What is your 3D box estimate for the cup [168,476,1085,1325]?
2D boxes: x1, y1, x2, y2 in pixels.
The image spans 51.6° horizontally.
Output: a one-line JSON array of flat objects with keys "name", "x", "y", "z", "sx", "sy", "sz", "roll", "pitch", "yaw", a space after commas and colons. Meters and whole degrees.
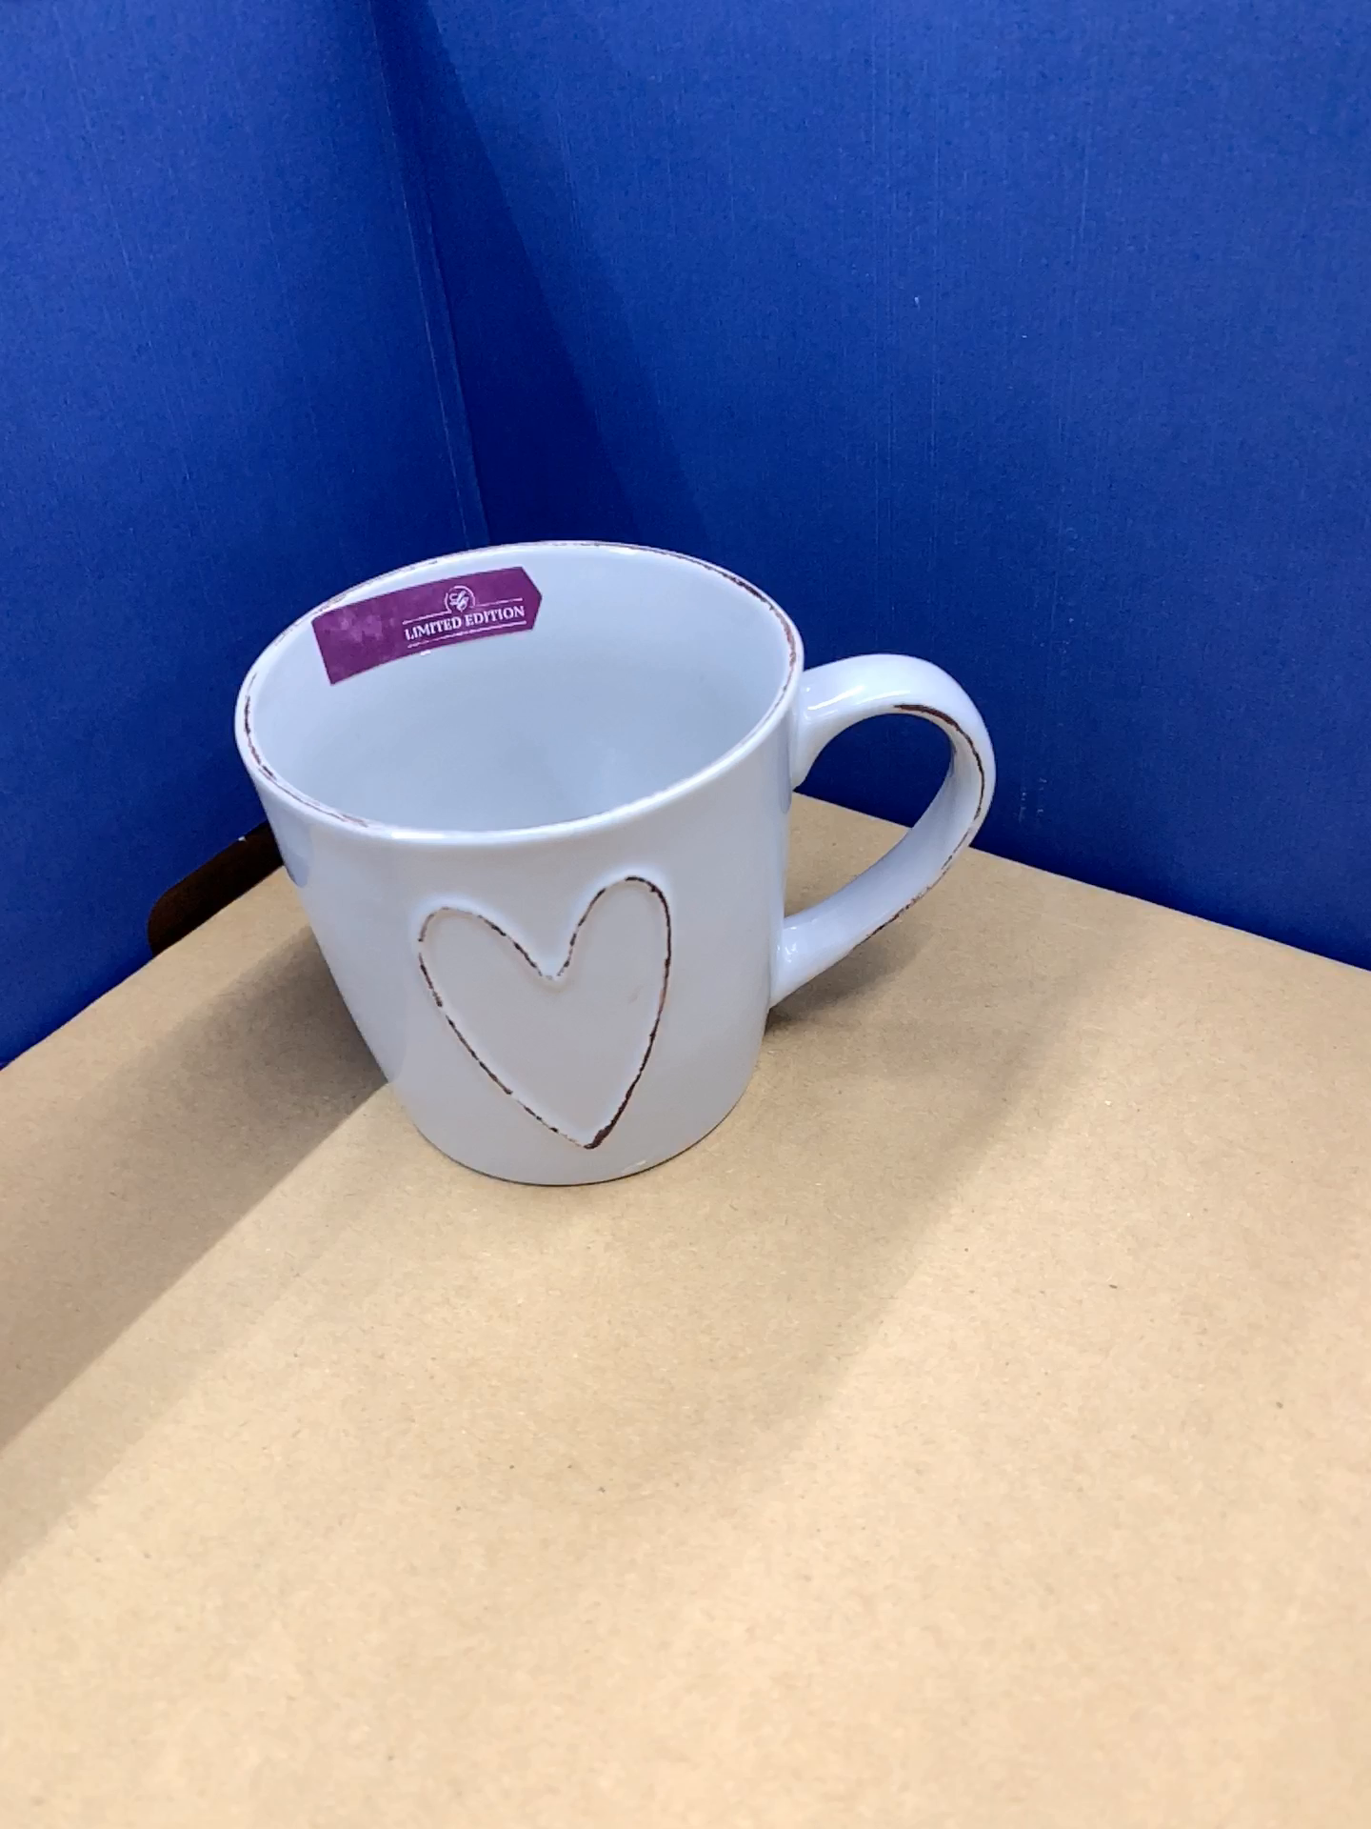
[{"name": "cup", "x": -0.013, "y": -0.009, "z": 0.247, "sx": 0.124, "sy": 0.085, "sz": 0.091, "roll": -14, "pitch": 38, "yaw": -11}]
